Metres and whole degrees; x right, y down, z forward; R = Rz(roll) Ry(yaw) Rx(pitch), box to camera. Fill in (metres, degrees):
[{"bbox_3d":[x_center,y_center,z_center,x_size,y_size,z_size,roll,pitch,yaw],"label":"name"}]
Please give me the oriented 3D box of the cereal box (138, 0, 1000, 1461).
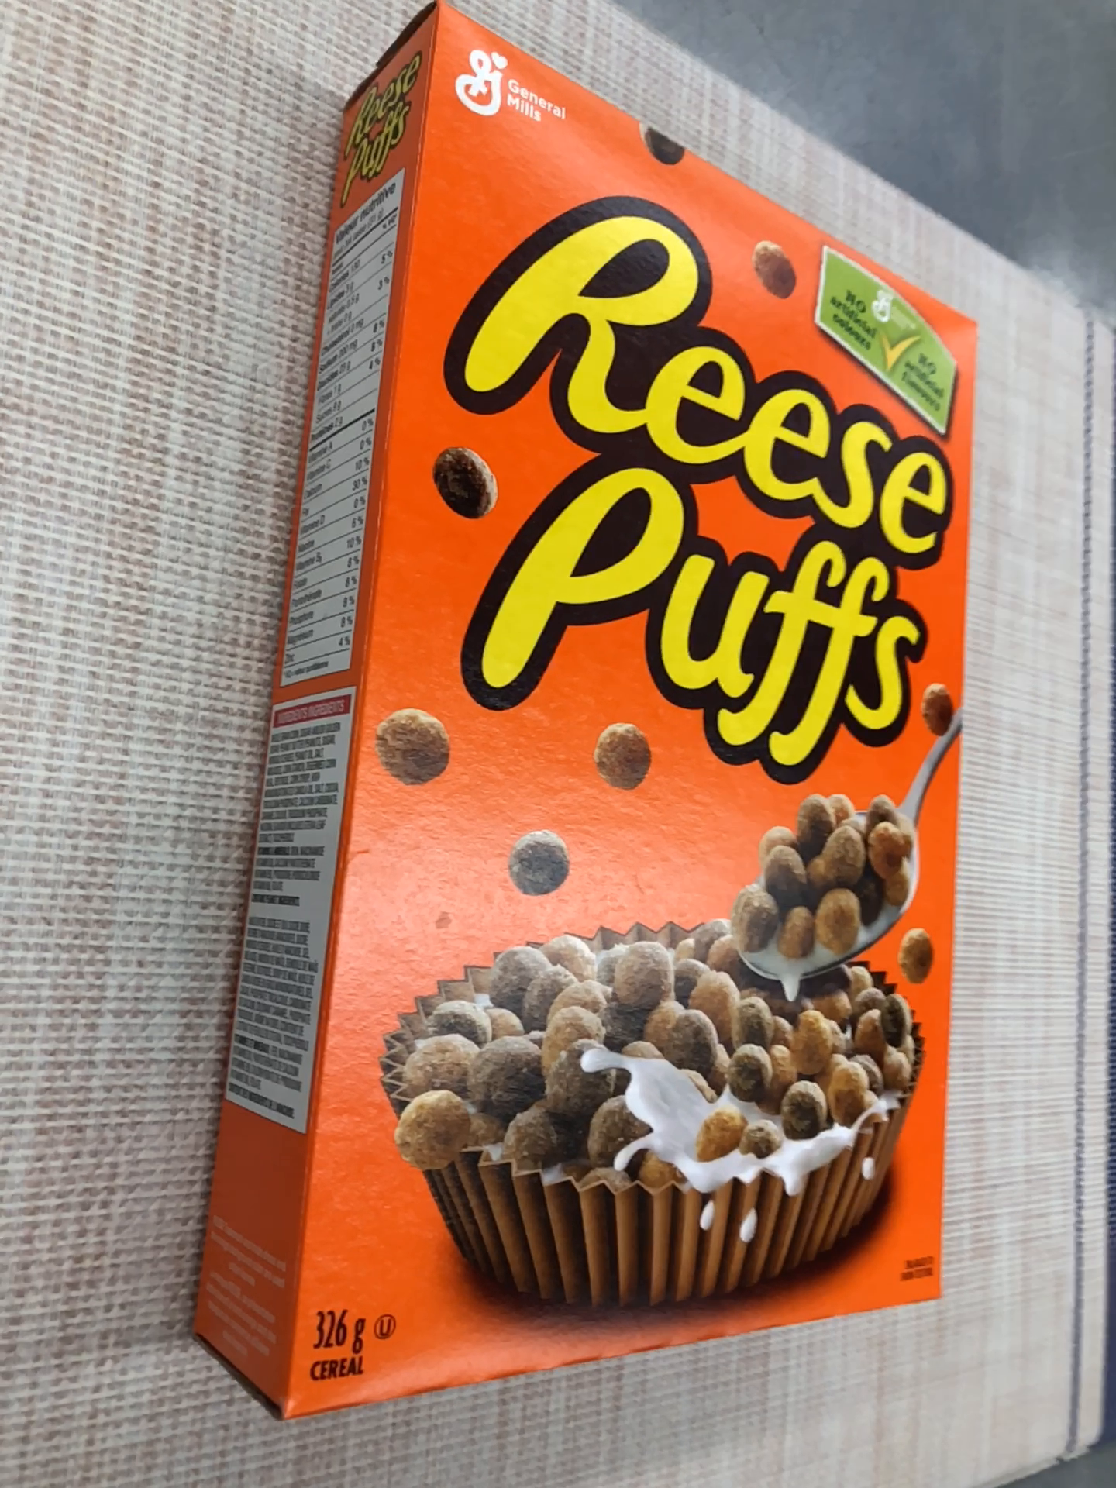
[{"bbox_3d":[0.023,-0.002,0.310,0.201,0.060,0.280,11,81,-39],"label":"cereal box"}]
